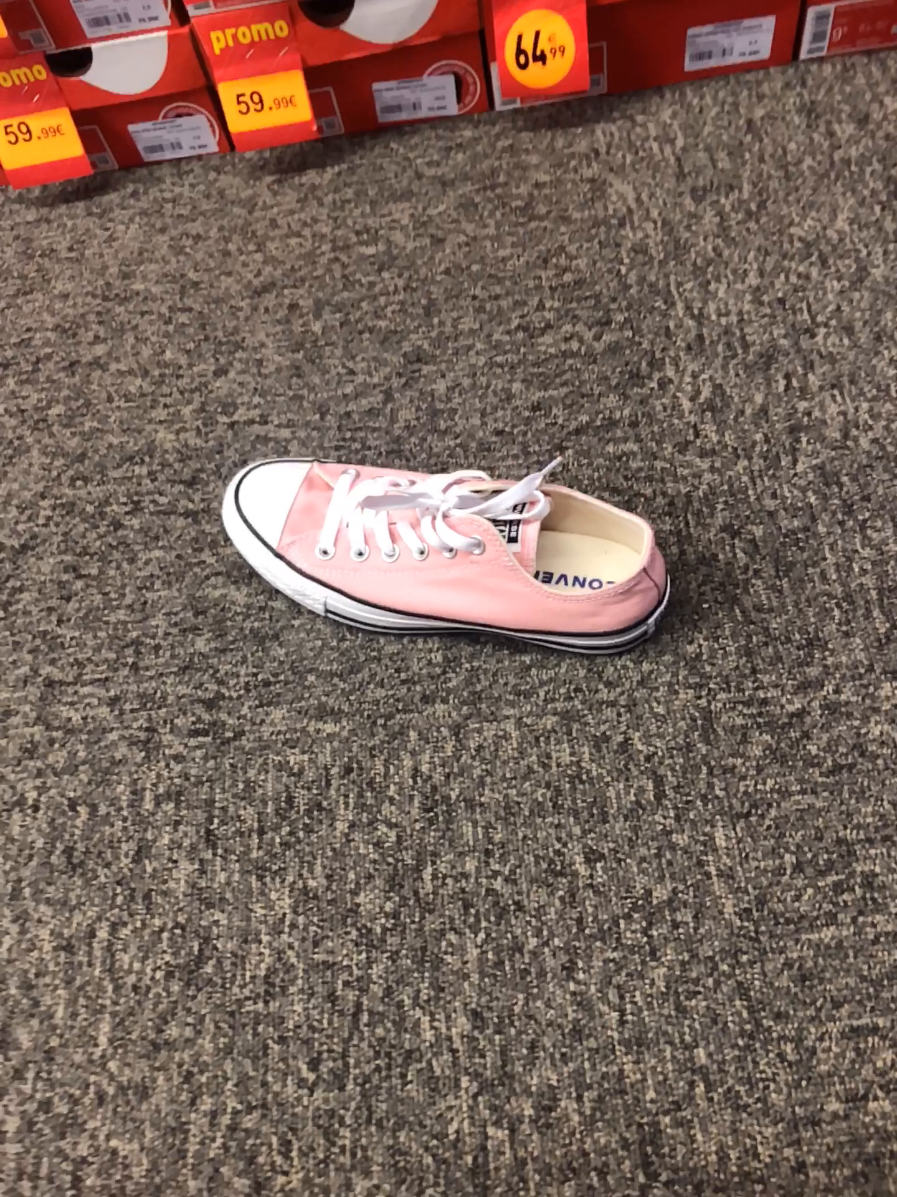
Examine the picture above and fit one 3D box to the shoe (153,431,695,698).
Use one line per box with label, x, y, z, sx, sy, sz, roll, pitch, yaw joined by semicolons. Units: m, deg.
shoe;-0.013;-0.025;0.550;0.280;0.060;0.100;8;64;19
